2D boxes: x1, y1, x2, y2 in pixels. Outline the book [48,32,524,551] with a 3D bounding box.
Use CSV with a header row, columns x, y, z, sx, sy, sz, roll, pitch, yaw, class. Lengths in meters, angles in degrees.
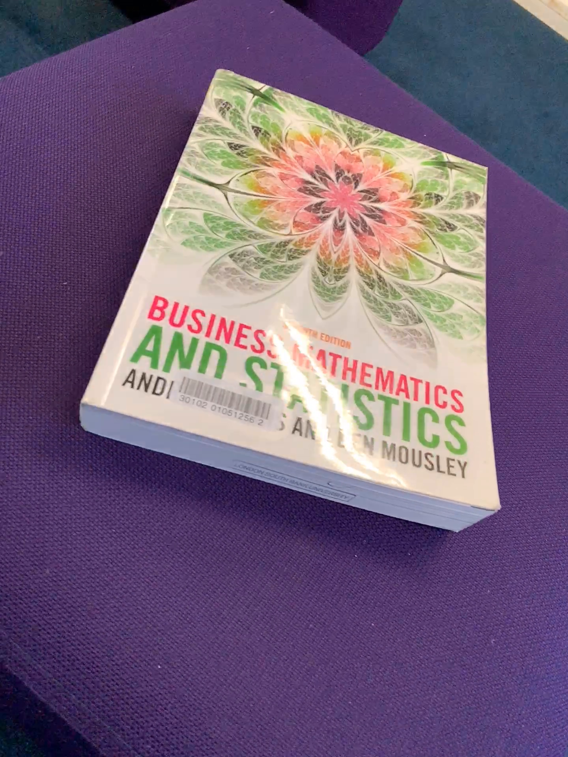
x,y,z,sx,sy,sz,roll,pitch,yaw,class
0.022,-0.064,0.323,0.200,0.050,0.262,18,56,-9,book
